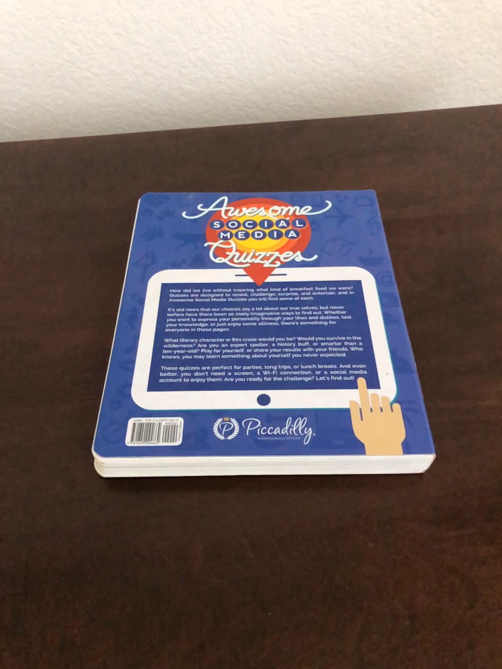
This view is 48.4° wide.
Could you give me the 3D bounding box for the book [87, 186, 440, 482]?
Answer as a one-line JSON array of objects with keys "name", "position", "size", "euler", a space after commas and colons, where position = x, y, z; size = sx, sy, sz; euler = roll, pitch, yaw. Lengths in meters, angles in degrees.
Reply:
[{"name": "book", "position": [0.006, -0.014, 0.336], "size": [0.166, 0.030, 0.201], "euler": [0, 52, 0]}]
